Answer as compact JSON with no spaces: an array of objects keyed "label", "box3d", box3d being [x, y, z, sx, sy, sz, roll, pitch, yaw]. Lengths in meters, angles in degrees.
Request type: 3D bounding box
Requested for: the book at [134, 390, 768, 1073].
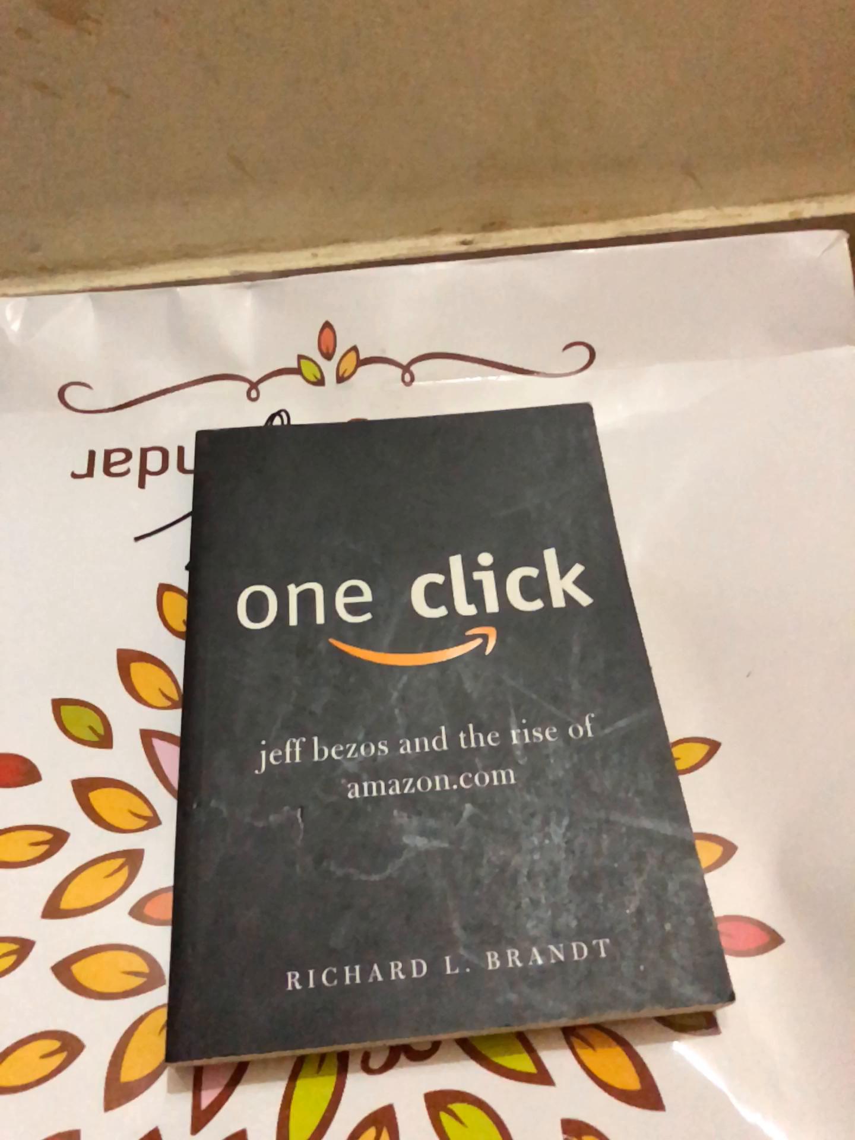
[{"label":"book","box3d":[-0.001,0.033,0.311,0.160,0.020,0.221,-4,55,0]}]
